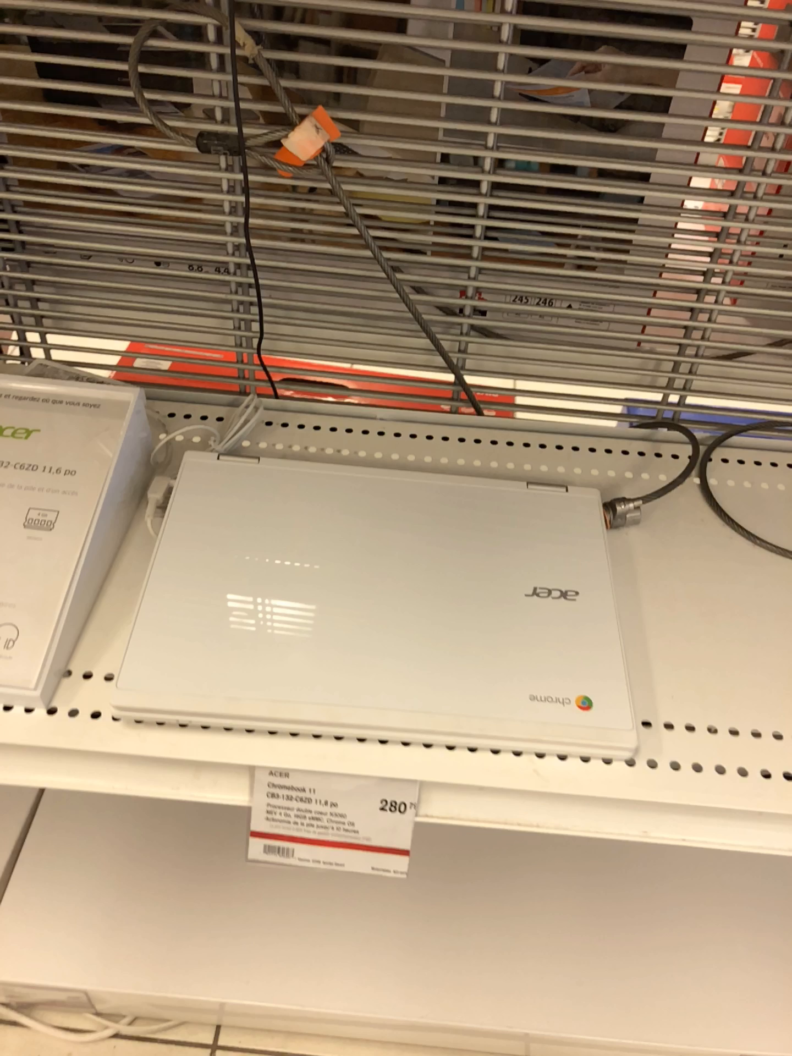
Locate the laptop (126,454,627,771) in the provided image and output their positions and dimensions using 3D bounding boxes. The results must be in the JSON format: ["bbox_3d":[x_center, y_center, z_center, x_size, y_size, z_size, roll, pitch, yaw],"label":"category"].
[{"bbox_3d":[-0.008,0.046,0.558,0.286,0.024,0.184,5,54,0],"label":"laptop"}]
